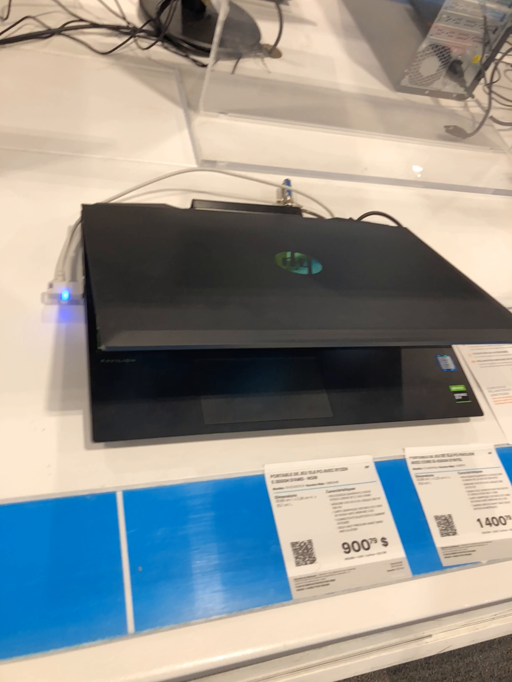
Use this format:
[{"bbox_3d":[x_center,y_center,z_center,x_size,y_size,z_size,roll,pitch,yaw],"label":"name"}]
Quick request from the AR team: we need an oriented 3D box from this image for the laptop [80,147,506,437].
[{"bbox_3d":[0.027,-0.049,0.497,0.339,0.064,0.221,-1,60,-21],"label":"laptop"}]
